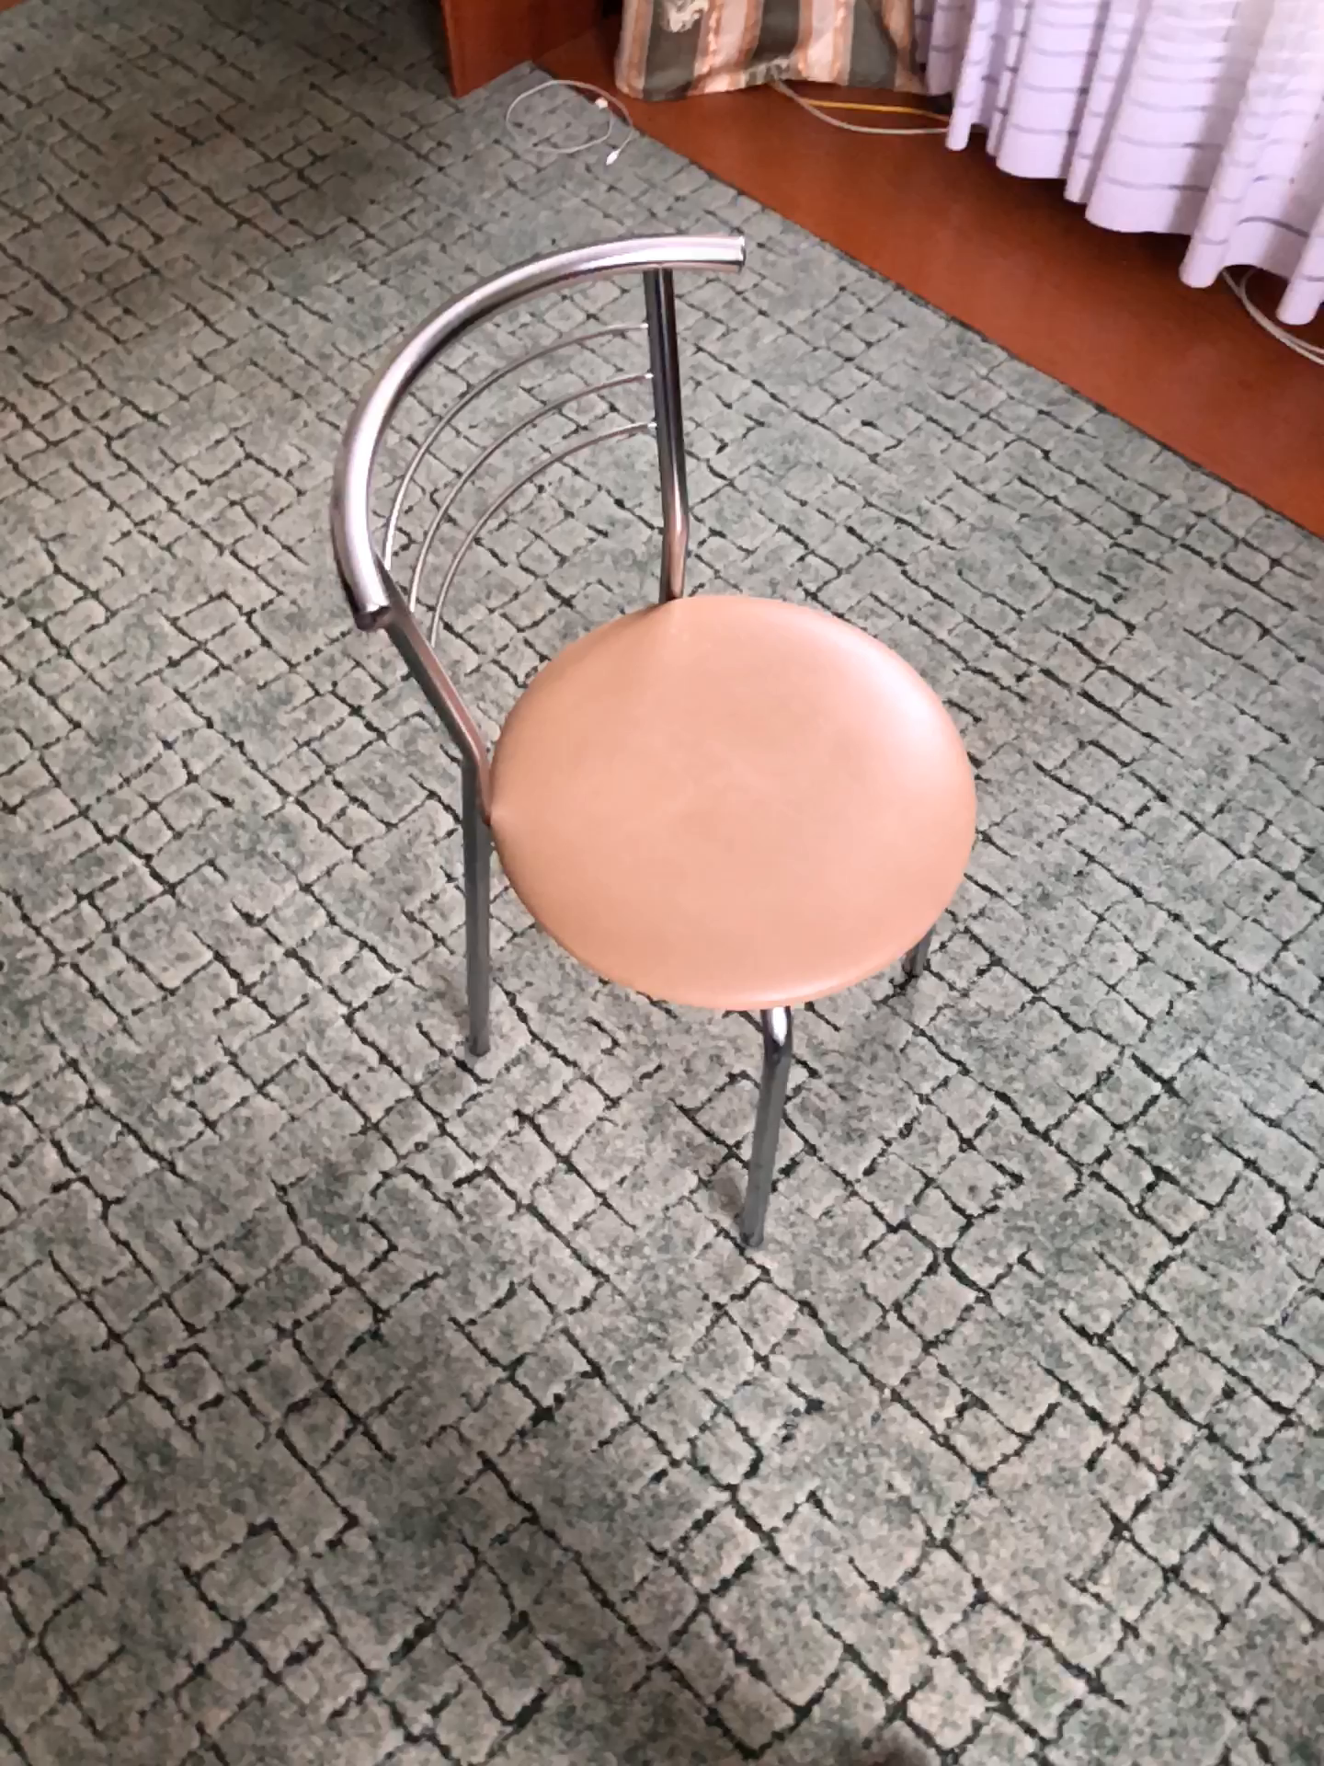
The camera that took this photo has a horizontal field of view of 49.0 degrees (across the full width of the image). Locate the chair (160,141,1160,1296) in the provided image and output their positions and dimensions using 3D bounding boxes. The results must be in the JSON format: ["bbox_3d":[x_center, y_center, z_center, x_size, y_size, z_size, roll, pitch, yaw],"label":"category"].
[{"bbox_3d":[0.013,-0.069,1.240,0.451,0.805,0.444,28,63,16],"label":"chair"}]
